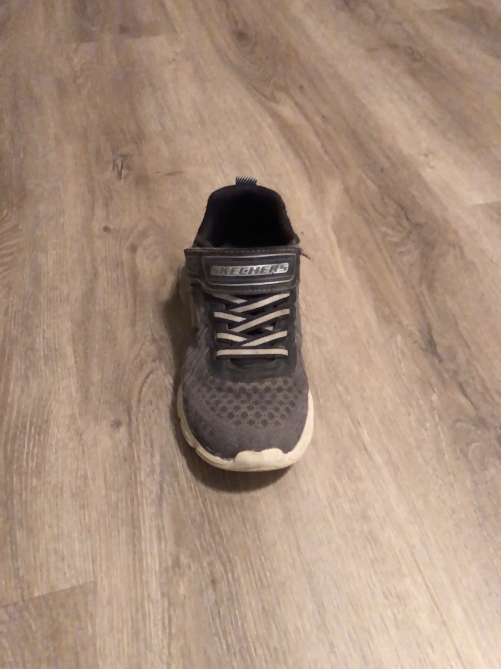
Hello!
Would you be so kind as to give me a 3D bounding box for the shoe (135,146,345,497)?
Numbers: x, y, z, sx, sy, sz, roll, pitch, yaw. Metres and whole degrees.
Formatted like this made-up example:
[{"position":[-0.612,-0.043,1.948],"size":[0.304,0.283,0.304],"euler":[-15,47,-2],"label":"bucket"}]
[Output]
[{"position":[-0.008,-0.021,0.378],"size":[0.100,0.100,0.231],"euler":[0,49,-2],"label":"shoe"}]
